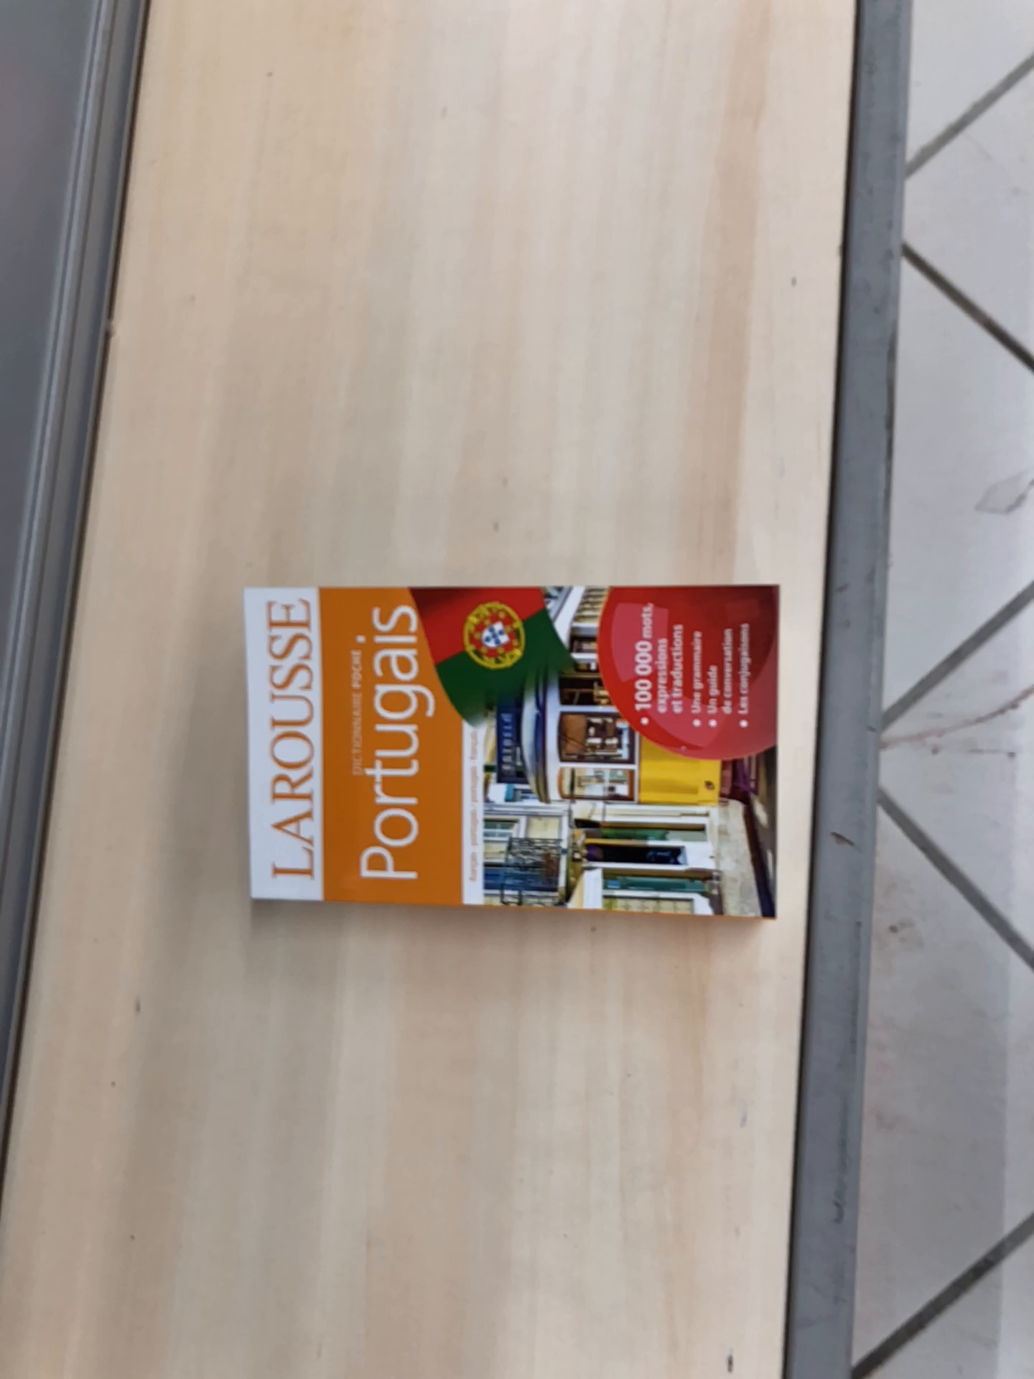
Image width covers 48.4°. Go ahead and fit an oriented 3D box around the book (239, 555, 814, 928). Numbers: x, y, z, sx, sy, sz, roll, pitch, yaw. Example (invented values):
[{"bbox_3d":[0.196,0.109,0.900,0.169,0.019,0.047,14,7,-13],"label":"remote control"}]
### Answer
[{"bbox_3d":[0.004,0.020,0.398,0.185,0.046,0.118,-1,79,10],"label":"book"}]
